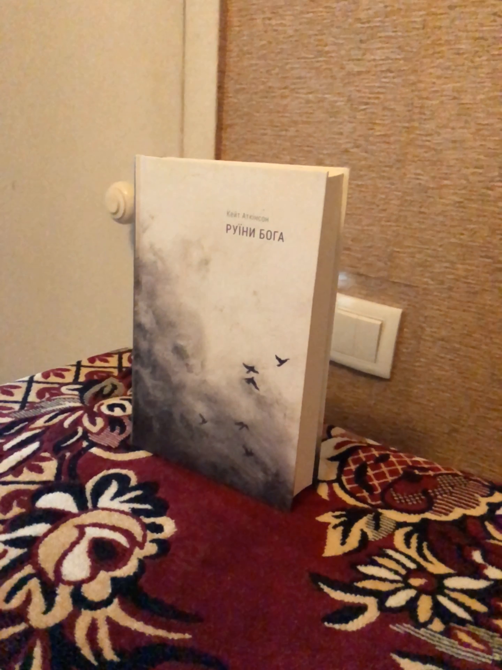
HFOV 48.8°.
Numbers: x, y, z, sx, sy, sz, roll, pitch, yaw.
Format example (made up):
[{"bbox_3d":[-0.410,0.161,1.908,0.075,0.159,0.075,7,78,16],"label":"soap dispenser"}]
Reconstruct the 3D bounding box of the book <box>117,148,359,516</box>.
[{"bbox_3d":[-0.020,-0.009,0.371,0.150,0.210,0.040,15,19,31],"label":"book"}]
